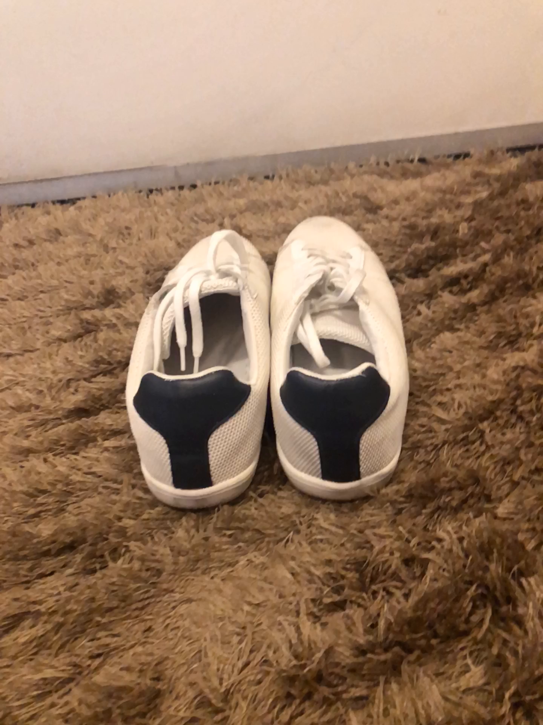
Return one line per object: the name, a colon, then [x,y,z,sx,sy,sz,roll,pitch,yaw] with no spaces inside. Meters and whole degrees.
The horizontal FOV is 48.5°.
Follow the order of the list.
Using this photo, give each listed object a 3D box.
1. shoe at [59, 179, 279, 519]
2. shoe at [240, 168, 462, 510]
shoe: [-0.049,-0.030,0.418,0.100,0.079,0.265,-5,40,5]
shoe: [0.044,-0.036,0.411,0.104,0.079,0.265,-4,40,5]
